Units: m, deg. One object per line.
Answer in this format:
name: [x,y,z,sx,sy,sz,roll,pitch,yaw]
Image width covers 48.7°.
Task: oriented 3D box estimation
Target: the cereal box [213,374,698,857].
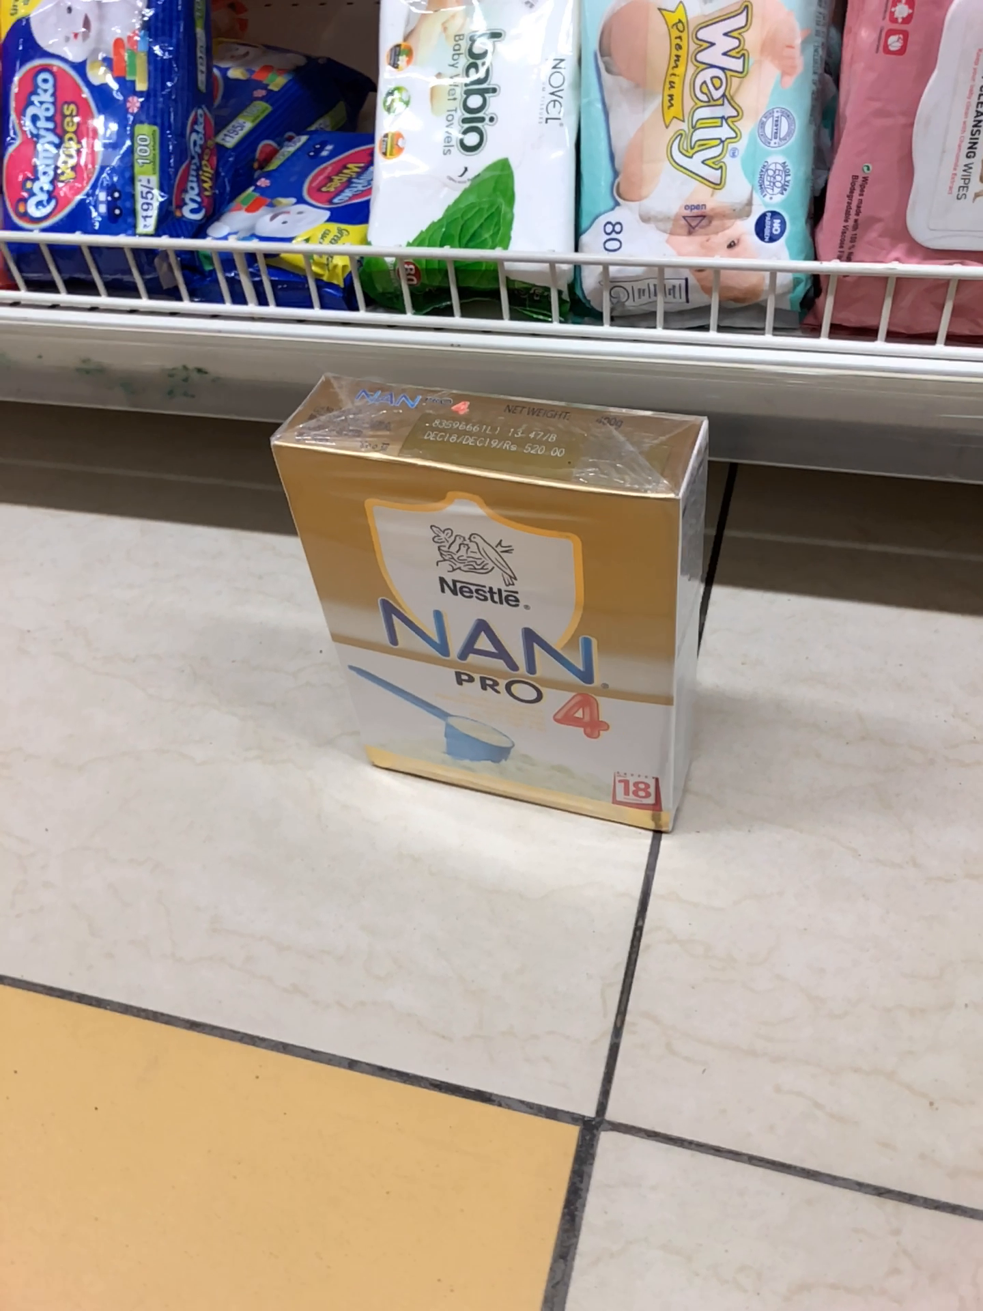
cereal box: [-0.005,-0.010,0.440,0.160,0.189,0.050,10,48,17]
